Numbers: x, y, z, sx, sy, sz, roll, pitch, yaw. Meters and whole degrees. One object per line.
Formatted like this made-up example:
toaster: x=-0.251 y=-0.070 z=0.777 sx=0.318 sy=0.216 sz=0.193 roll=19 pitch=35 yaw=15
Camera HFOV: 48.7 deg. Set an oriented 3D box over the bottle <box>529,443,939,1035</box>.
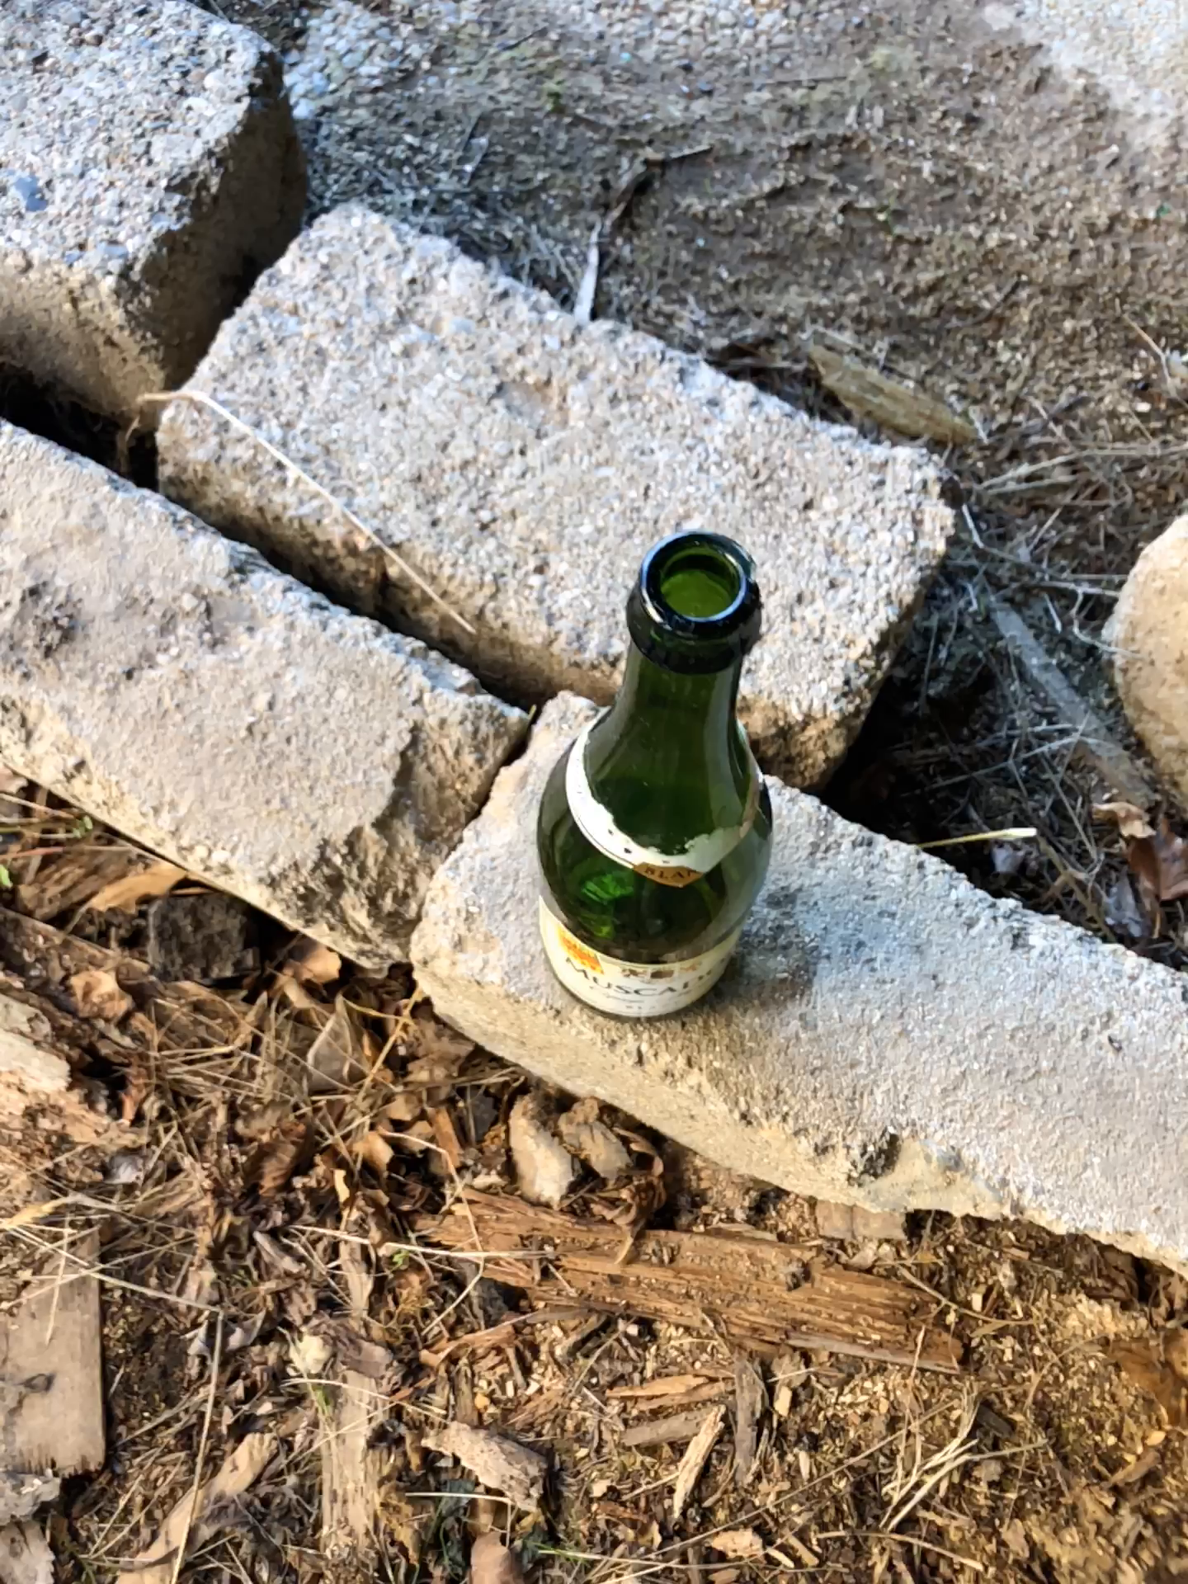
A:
bottle: x=0.029 y=0.010 z=0.438 sx=0.090 sy=0.289 sz=0.090 roll=1 pitch=71 yaw=-2
